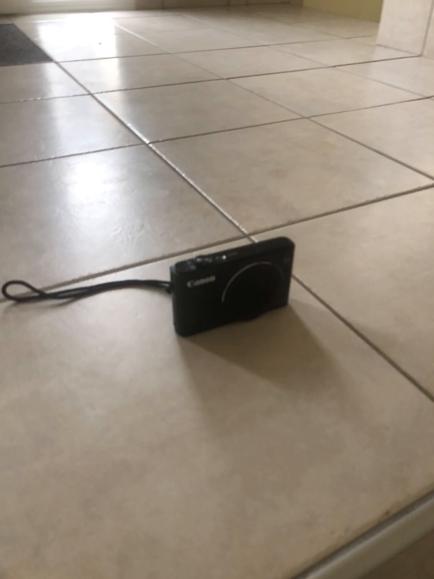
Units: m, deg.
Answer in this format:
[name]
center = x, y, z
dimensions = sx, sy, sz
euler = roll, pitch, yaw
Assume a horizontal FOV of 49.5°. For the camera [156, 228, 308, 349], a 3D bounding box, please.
[camera]
center = 0.012, -0.003, 0.377
dimensions = 0.110, 0.060, 0.040
euler = -15, 39, -21
